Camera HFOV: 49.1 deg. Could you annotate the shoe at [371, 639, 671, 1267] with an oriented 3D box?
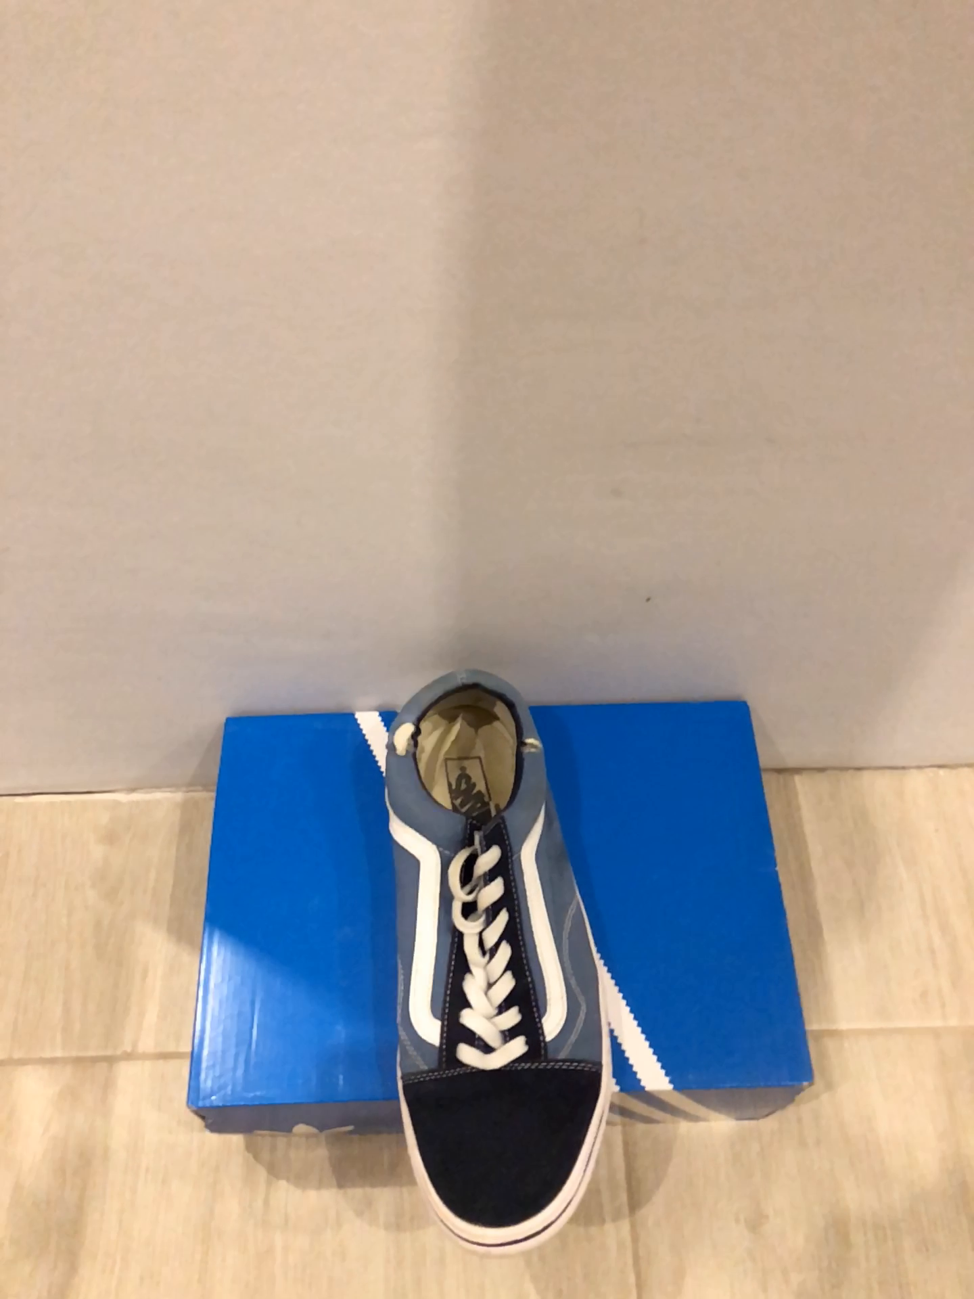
[{"bbox_3d":[0.006,0.139,0.531,0.110,0.080,0.281,-4,58,-3],"label":"shoe"}]
